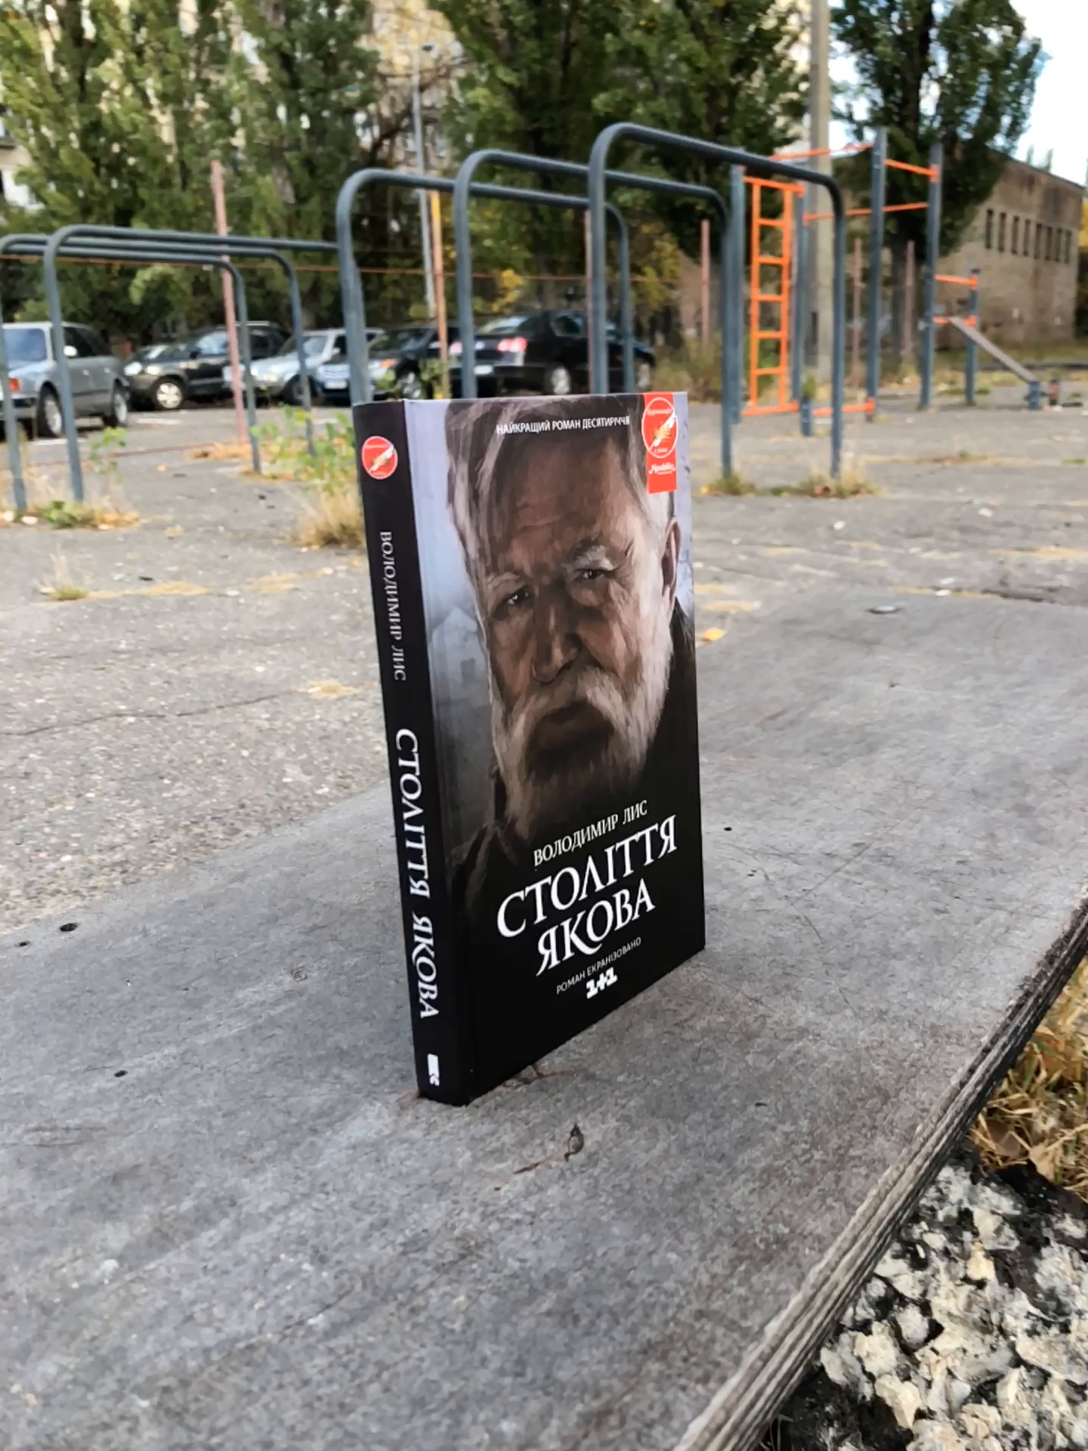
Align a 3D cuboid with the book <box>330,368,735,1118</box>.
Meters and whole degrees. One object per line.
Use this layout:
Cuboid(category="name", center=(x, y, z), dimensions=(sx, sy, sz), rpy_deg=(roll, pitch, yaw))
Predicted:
Cuboid(category="book", center=(0.007, -0.004, 0.392), dimensions=(0.030, 0.212, 0.140), rpy_deg=(7, 18, 41))
